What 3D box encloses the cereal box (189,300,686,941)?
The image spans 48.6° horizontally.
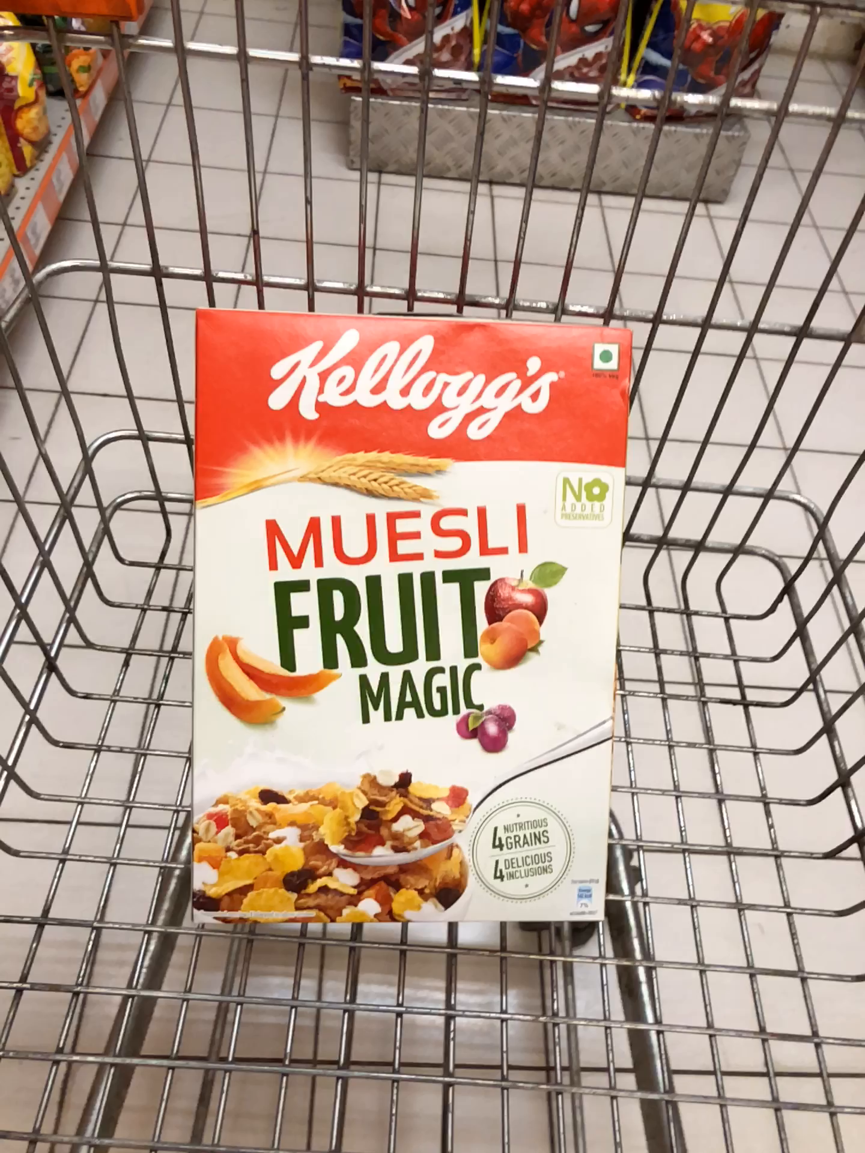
[{"bbox_3d":[-0.004,0.021,0.445,0.200,0.270,0.080,2,9,-6],"label":"cereal box"}]
